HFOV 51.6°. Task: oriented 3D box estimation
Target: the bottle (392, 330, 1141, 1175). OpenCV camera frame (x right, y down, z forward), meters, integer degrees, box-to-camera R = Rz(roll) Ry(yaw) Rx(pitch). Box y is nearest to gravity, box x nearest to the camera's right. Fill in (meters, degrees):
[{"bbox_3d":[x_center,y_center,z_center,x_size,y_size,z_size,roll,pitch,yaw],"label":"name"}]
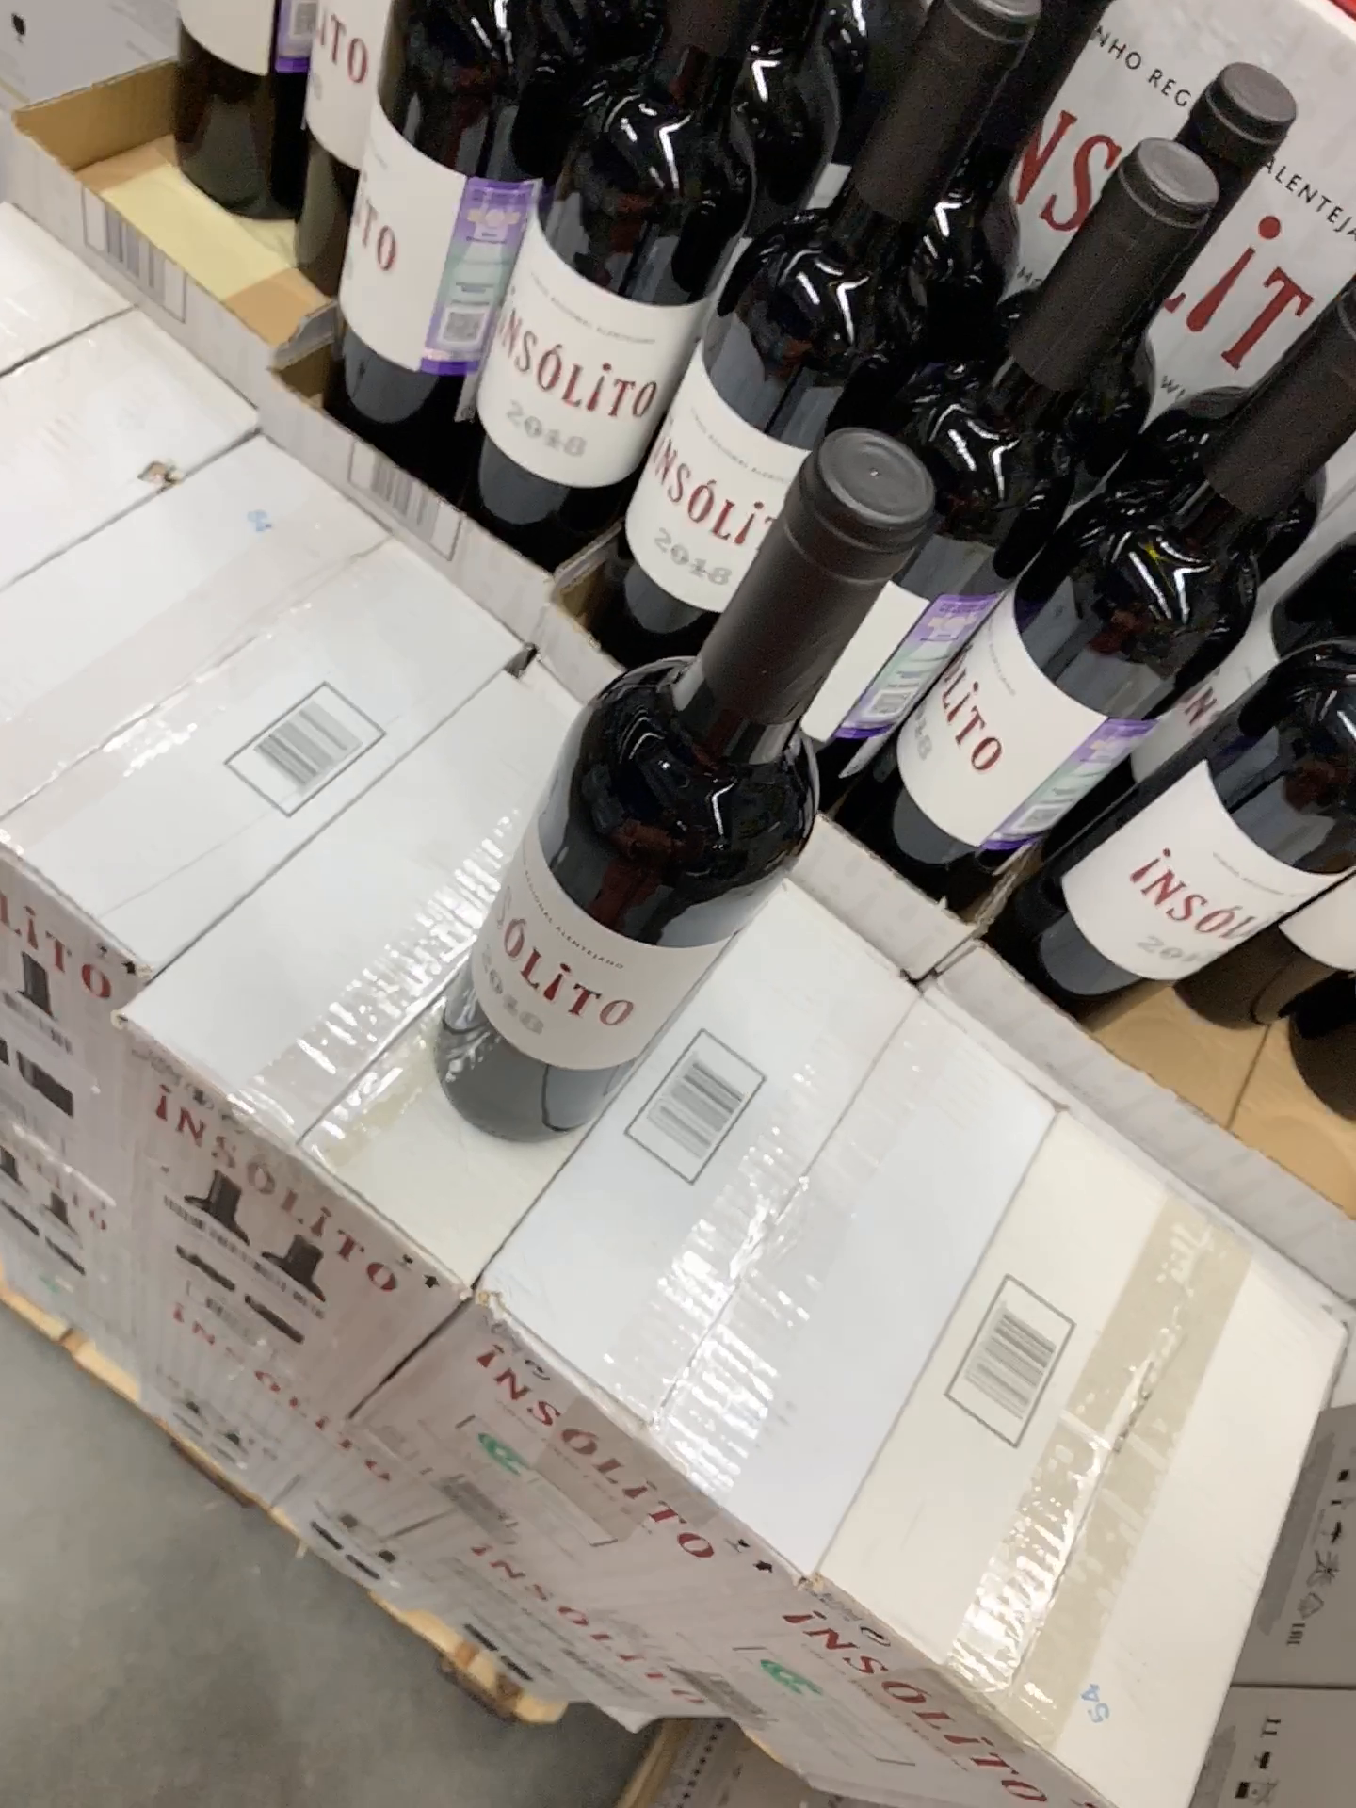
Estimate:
[{"bbox_3d":[-0.007,-0.014,0.405,0.080,0.310,0.077,9,61,-17],"label":"bottle"}]
